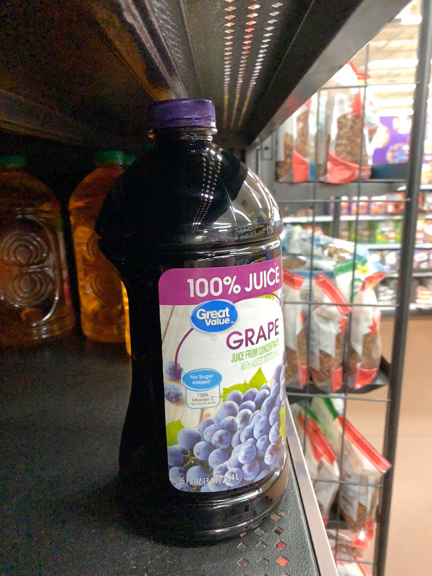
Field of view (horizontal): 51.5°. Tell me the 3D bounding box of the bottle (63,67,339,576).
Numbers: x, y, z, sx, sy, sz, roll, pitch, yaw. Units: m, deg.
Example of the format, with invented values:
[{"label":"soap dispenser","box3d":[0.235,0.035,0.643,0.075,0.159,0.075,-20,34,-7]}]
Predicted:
[{"label":"bottle","box3d":[-0.015,0.015,0.321,0.130,0.279,0.140,-1,13,0]}]
